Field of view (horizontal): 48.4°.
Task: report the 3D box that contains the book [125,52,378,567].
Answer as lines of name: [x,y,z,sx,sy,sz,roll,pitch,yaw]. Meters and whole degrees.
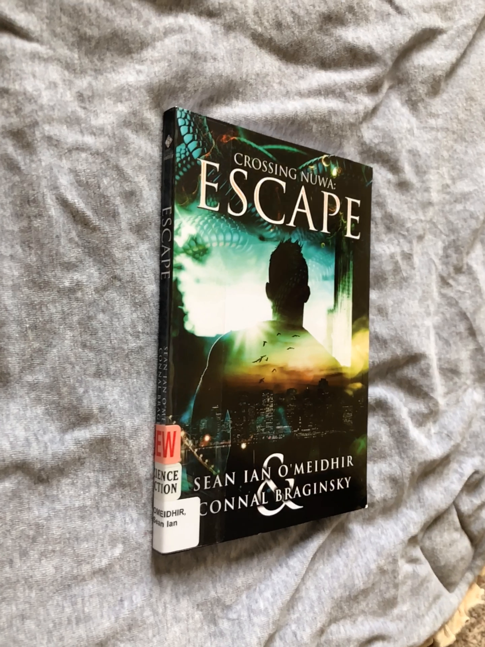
book: [0.015,-0.005,0.321,0.161,0.030,0.250,3,87,-36]
